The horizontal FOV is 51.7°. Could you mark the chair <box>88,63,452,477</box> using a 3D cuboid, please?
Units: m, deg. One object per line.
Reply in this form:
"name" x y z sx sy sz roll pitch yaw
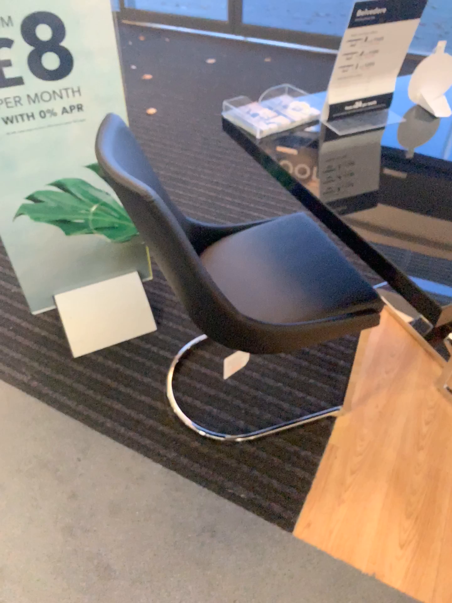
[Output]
"chair" 0.060 -0.069 1.210 0.610 0.812 0.535 -12 45 -13
